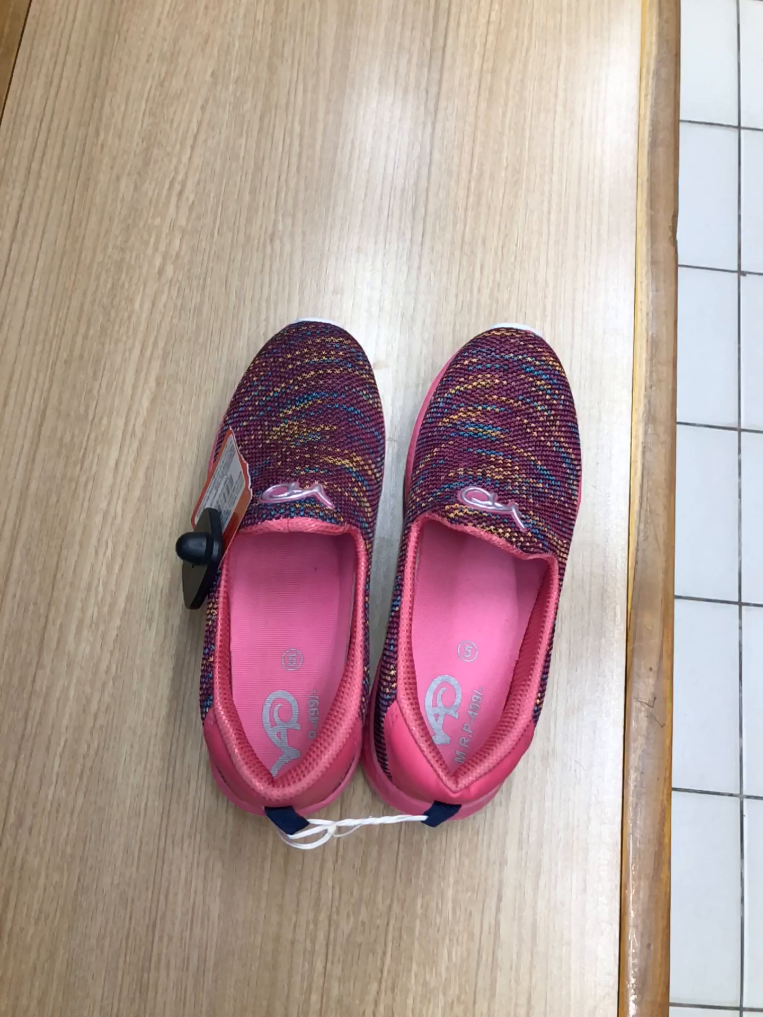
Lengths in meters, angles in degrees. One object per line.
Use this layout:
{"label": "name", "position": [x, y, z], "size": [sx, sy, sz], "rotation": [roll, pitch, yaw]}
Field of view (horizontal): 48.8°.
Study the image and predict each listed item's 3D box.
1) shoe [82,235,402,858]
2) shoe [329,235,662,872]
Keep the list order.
{"label": "shoe", "position": [-0.051, 0.017, 0.382], "size": [0.105, 0.103, 0.244], "rotation": [3, 77, -2]}
{"label": "shoe", "position": [0.049, 0.019, 0.386], "size": [0.105, 0.103, 0.244], "rotation": [9, 77, 0]}
